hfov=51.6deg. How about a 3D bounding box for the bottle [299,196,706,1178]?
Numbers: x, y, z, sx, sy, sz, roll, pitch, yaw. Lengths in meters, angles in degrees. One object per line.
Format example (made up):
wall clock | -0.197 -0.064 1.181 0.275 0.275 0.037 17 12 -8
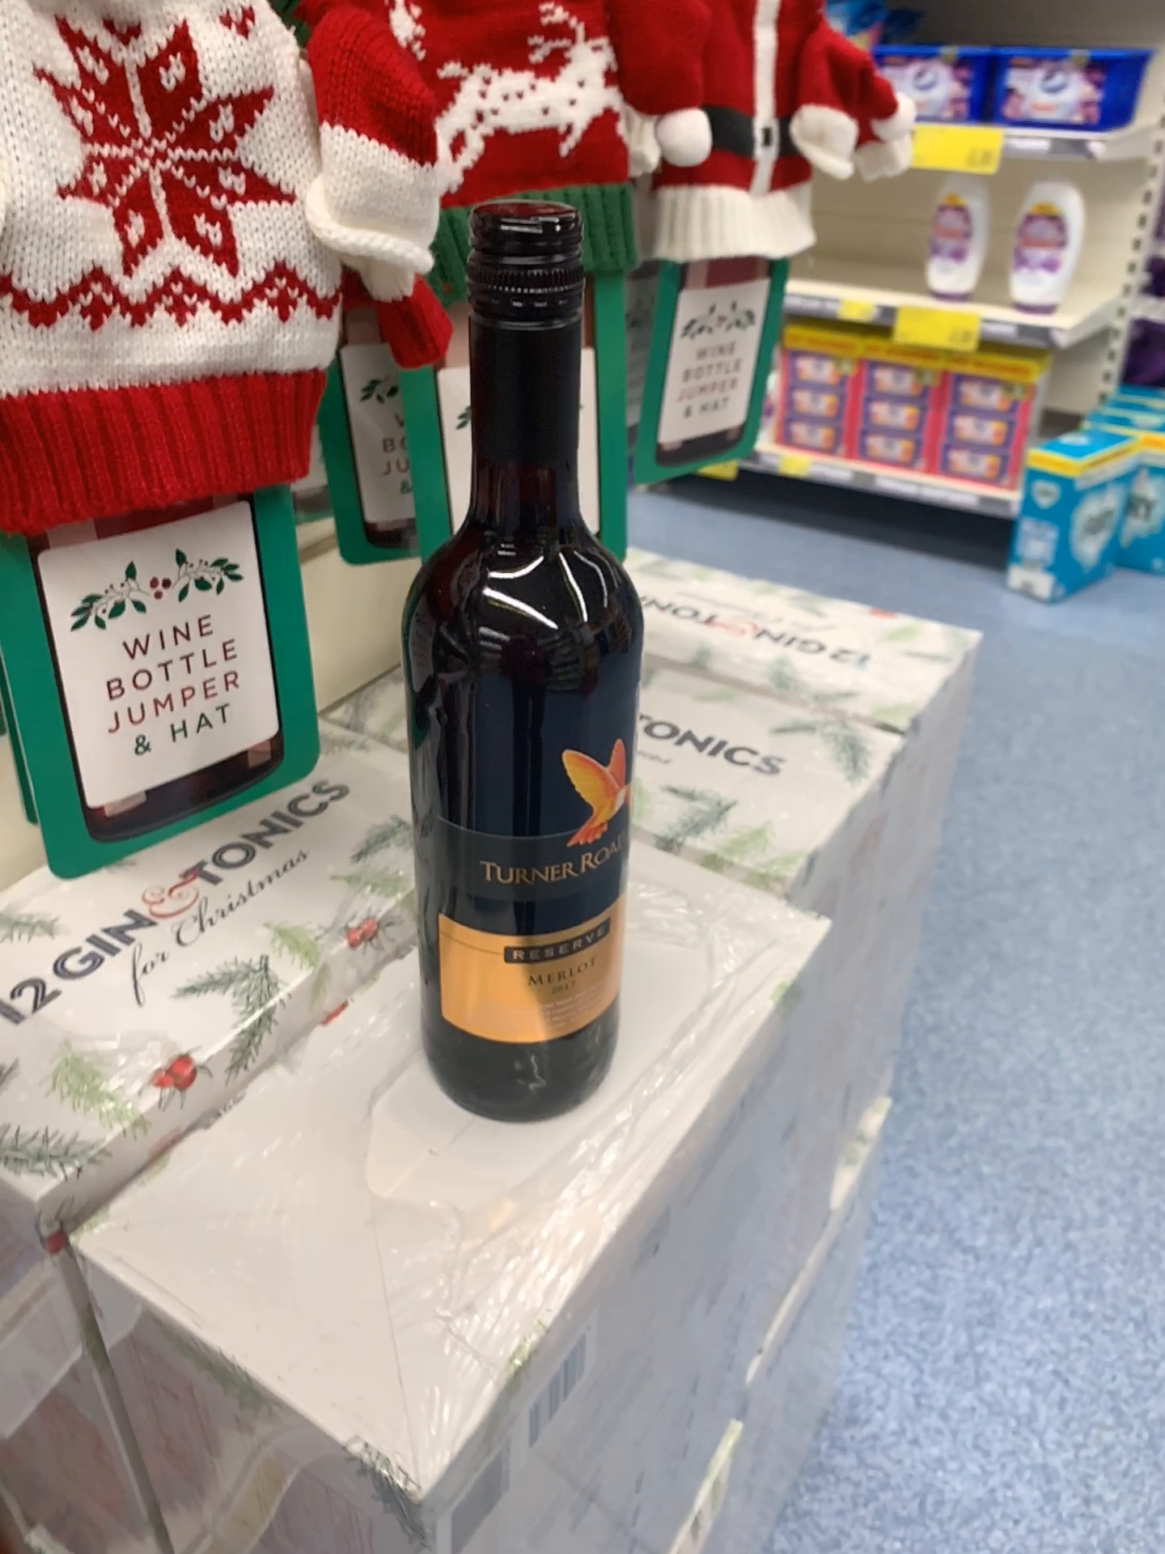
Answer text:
bottle | -0.022 -0.014 0.373 0.078 0.288 0.075 0 32 0
